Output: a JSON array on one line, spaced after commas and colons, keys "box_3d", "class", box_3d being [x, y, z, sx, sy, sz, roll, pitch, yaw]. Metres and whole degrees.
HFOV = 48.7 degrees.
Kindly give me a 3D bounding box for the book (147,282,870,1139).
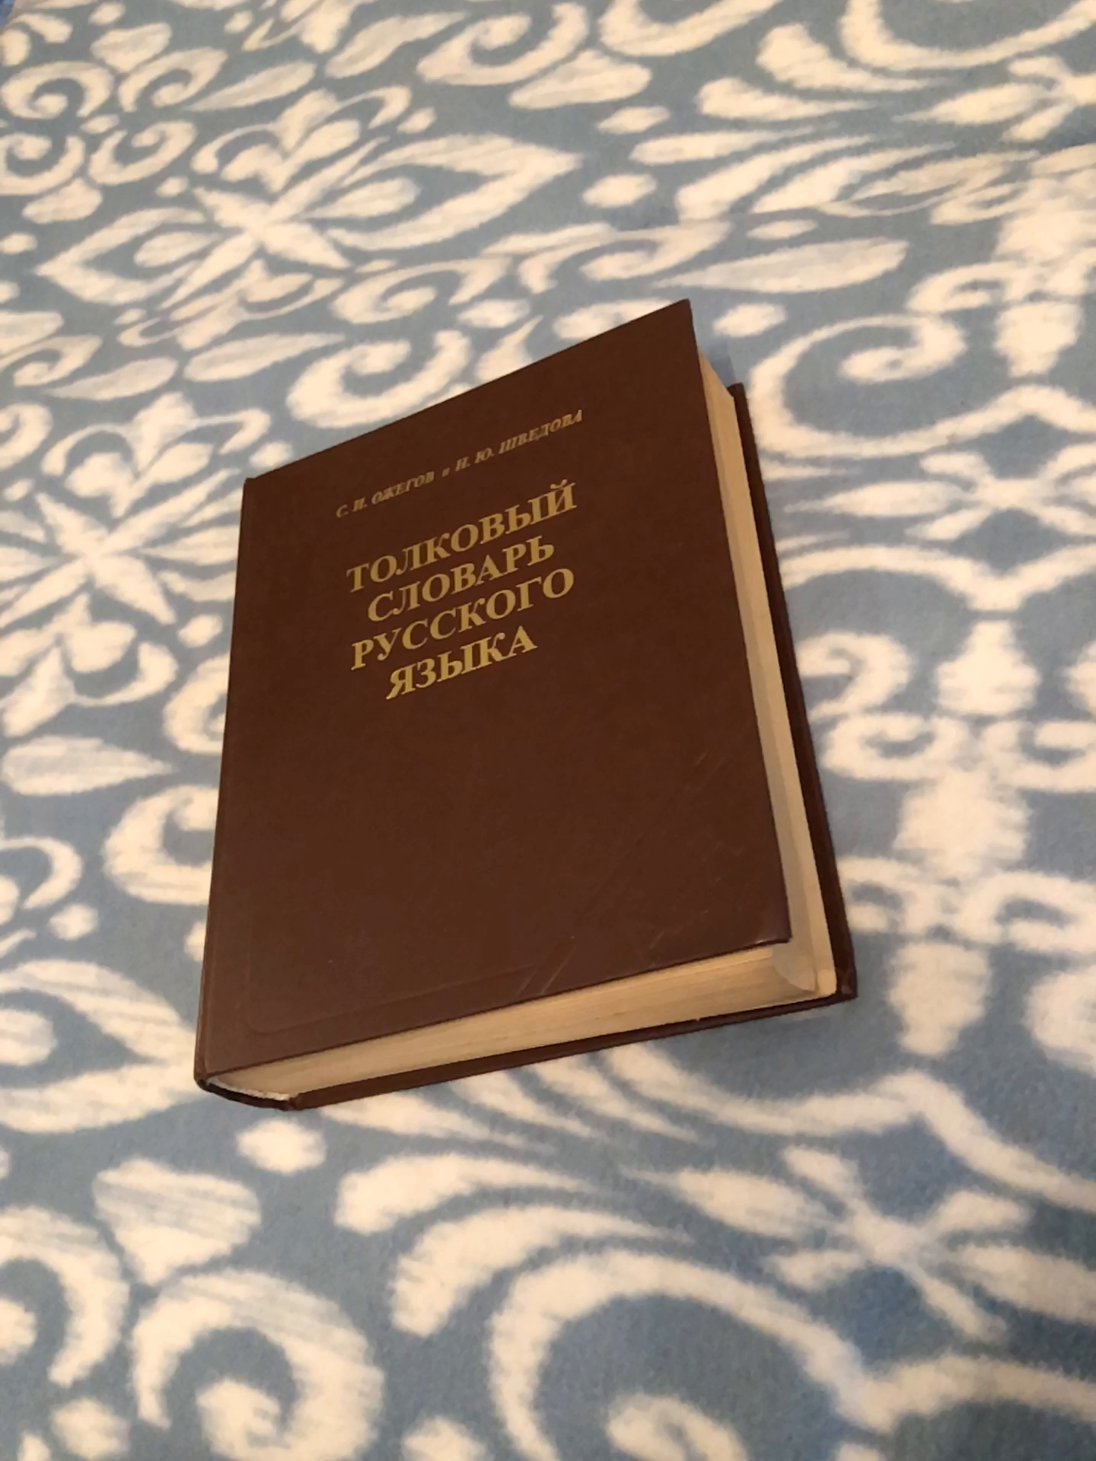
[{"box_3d": [-0.022, -0.009, 0.449, 0.220, 0.067, 0.271, -16, 56, 21], "class": "book"}]
